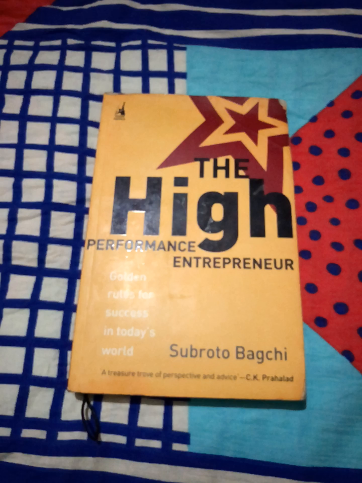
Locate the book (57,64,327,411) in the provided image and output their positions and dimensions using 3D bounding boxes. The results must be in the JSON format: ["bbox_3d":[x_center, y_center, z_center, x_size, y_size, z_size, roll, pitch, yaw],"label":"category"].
[{"bbox_3d":[0.009,-0.014,0.274,0.140,0.040,0.230,1,68,1],"label":"book"}]
